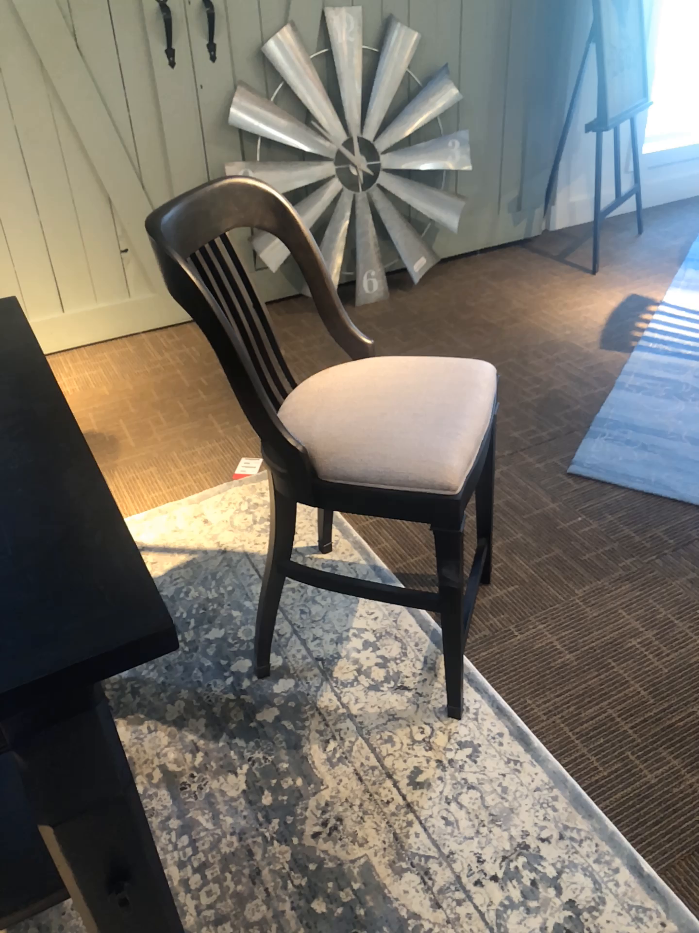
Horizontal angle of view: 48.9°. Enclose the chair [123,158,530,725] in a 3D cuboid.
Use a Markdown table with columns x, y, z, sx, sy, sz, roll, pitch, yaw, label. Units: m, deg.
| x | y | z | sx | sy | sz | roll | pitch | yaw | label |
| --- | --- | --- | --- | --- | --- | --- | --- | --- | --- |
| 0.020 | -0.047 | 1.550 | 0.570 | 0.985 | 0.482 | 6 | 34 | 14 | chair |
